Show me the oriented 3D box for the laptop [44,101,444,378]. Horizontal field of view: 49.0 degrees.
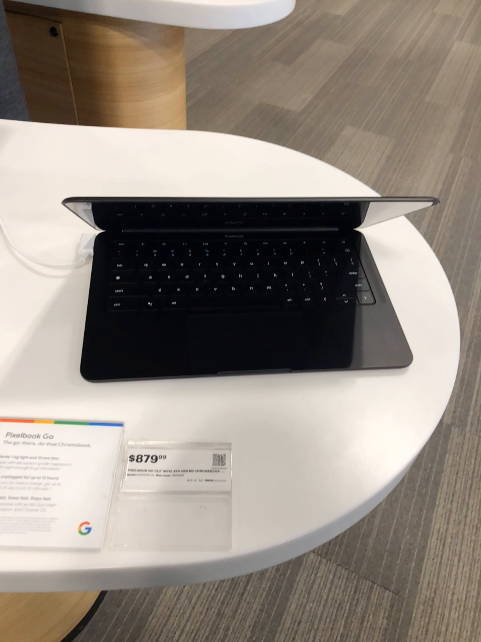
[{"bbox_3d":[-0.001,-0.078,0.478,0.278,0.146,0.192,-2,48,-10],"label":"laptop"}]
